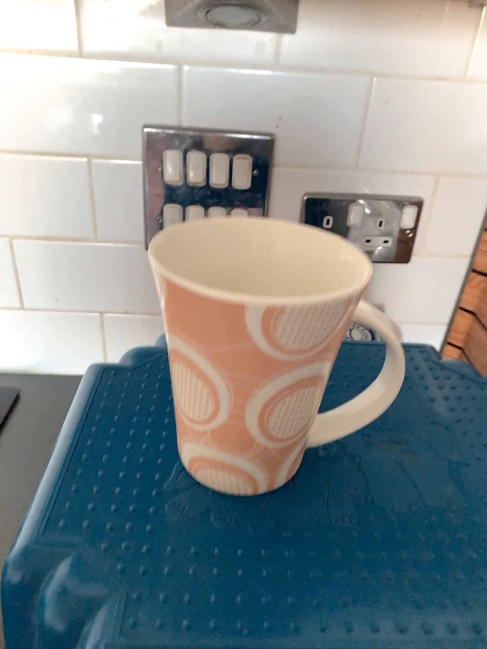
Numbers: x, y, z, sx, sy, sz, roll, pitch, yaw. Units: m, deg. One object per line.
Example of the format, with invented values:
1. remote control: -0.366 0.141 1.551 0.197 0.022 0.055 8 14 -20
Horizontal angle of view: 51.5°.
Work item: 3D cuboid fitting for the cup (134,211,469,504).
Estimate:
1. cup: 0.016 0.014 0.232 0.116 0.105 0.078 2 30 -4
